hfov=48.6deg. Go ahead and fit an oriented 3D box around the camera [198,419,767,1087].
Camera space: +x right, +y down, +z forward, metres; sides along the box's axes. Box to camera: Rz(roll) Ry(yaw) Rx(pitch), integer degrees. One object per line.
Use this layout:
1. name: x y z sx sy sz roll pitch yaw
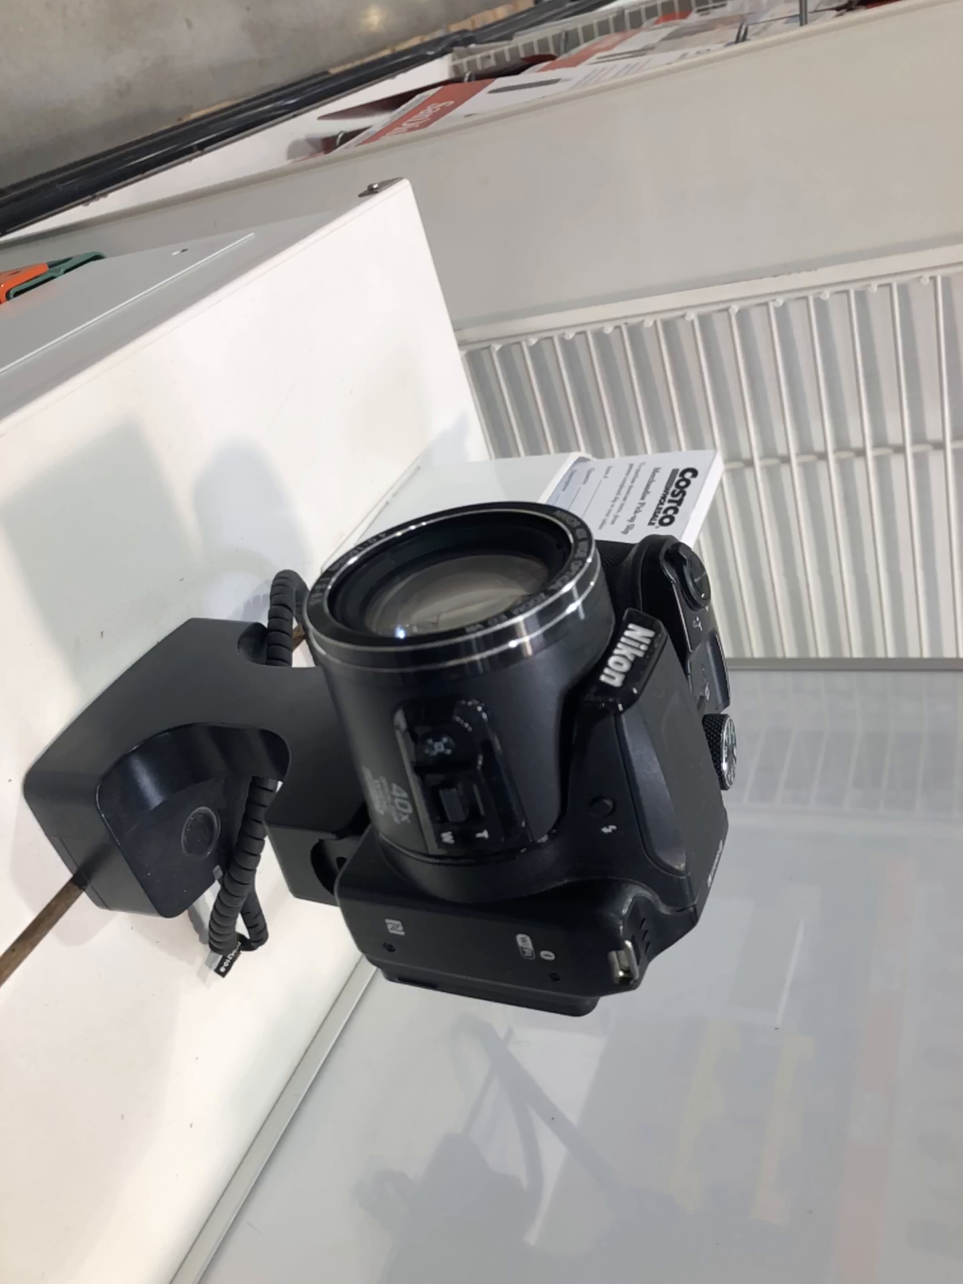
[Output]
1. camera: 0.014 0.021 0.262 0.116 0.079 0.101 -59 140 -46
